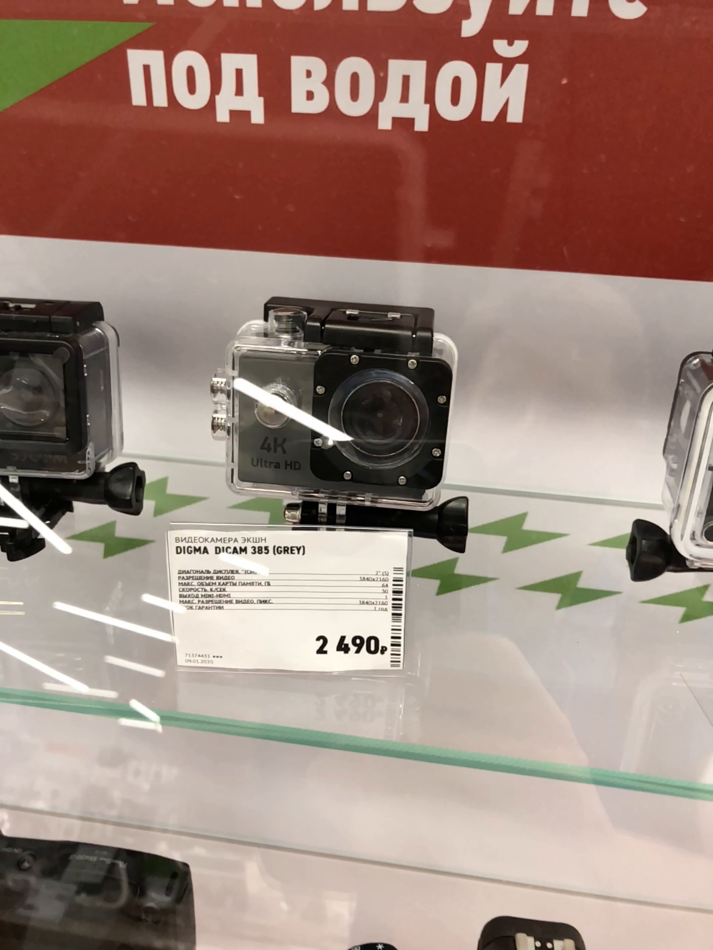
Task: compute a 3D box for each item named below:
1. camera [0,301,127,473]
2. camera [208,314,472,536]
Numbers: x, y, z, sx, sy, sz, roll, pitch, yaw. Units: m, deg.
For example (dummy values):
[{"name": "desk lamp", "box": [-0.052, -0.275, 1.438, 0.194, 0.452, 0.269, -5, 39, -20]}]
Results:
[{"name": "camera", "box": [-0.117, -0.030, 0.258, 0.072, 0.046, 0.036, 3, 17, 2]}, {"name": "camera", "box": [-0.004, -0.019, 0.261, 0.077, 0.055, 0.048, 5, 21, 6]}]
